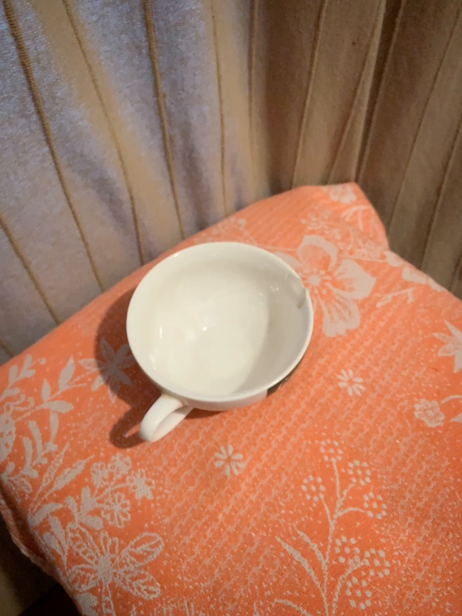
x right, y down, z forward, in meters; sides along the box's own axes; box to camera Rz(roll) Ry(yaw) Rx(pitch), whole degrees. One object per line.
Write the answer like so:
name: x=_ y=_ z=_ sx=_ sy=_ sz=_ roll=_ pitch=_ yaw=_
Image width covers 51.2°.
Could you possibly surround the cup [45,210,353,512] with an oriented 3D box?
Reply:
cup: x=-0.013 y=0.022 z=0.291 sx=0.114 sy=0.056 sz=0.137 roll=28 pitch=58 yaw=18
